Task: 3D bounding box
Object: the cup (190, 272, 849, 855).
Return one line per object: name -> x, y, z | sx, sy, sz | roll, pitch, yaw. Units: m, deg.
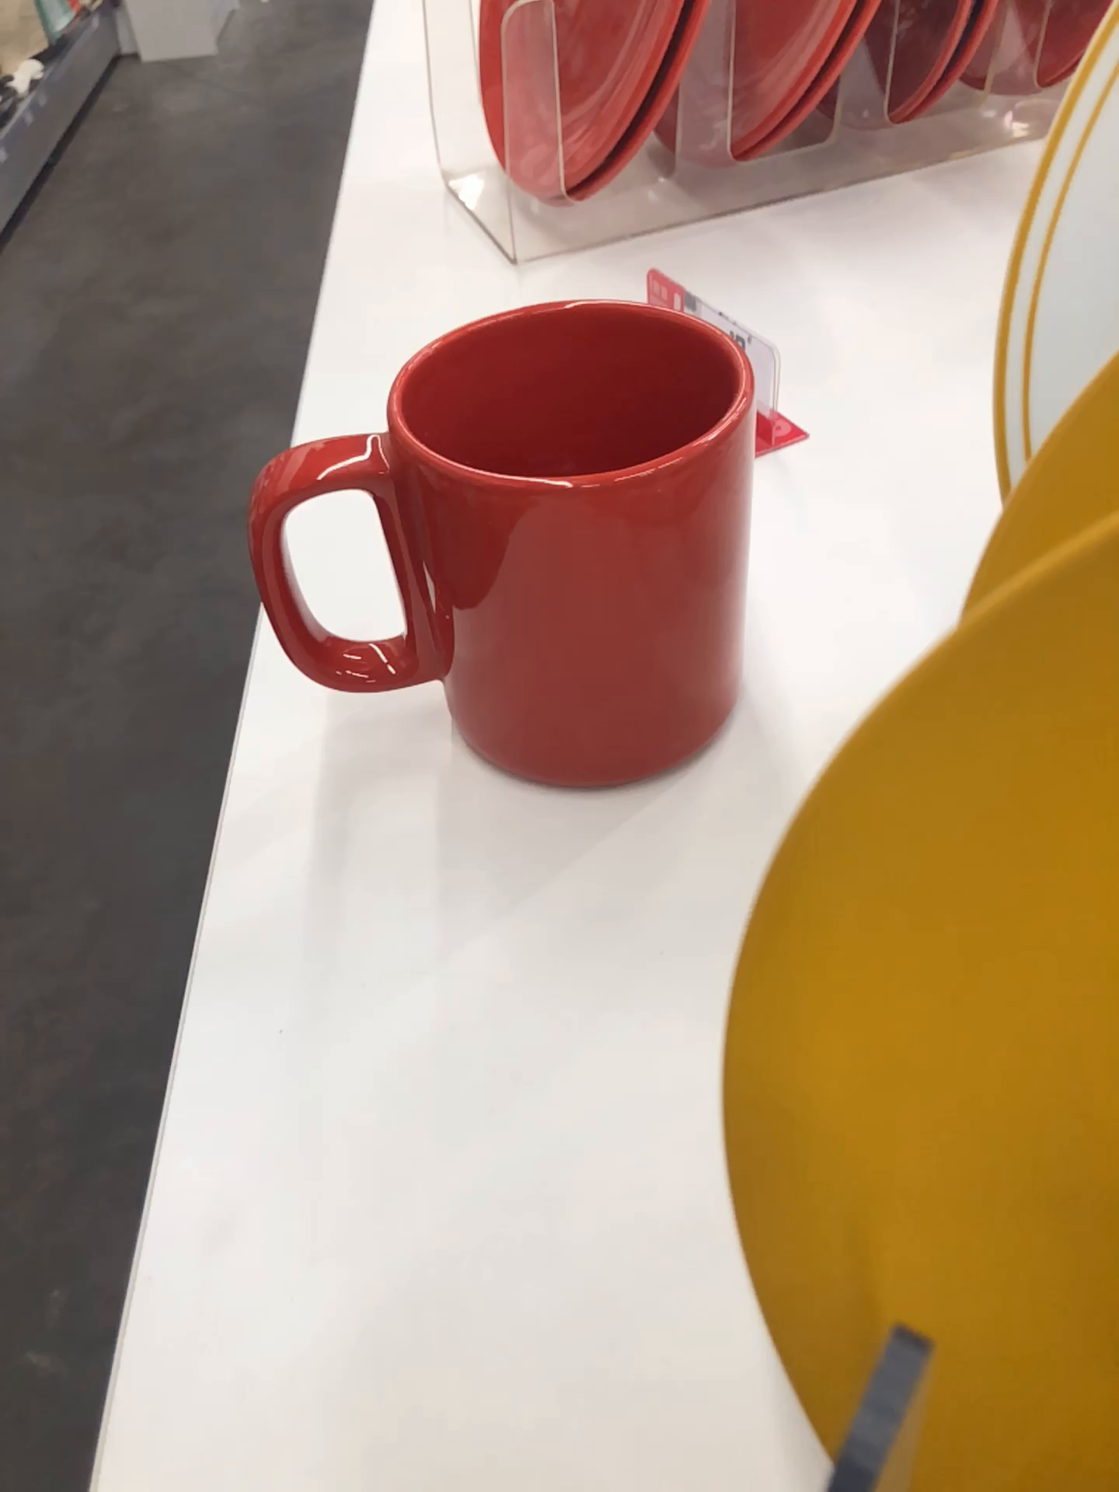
cup -> -0.011, -0.047, 0.300 | 0.129, 0.082, 0.091 | -11, 44, -4
